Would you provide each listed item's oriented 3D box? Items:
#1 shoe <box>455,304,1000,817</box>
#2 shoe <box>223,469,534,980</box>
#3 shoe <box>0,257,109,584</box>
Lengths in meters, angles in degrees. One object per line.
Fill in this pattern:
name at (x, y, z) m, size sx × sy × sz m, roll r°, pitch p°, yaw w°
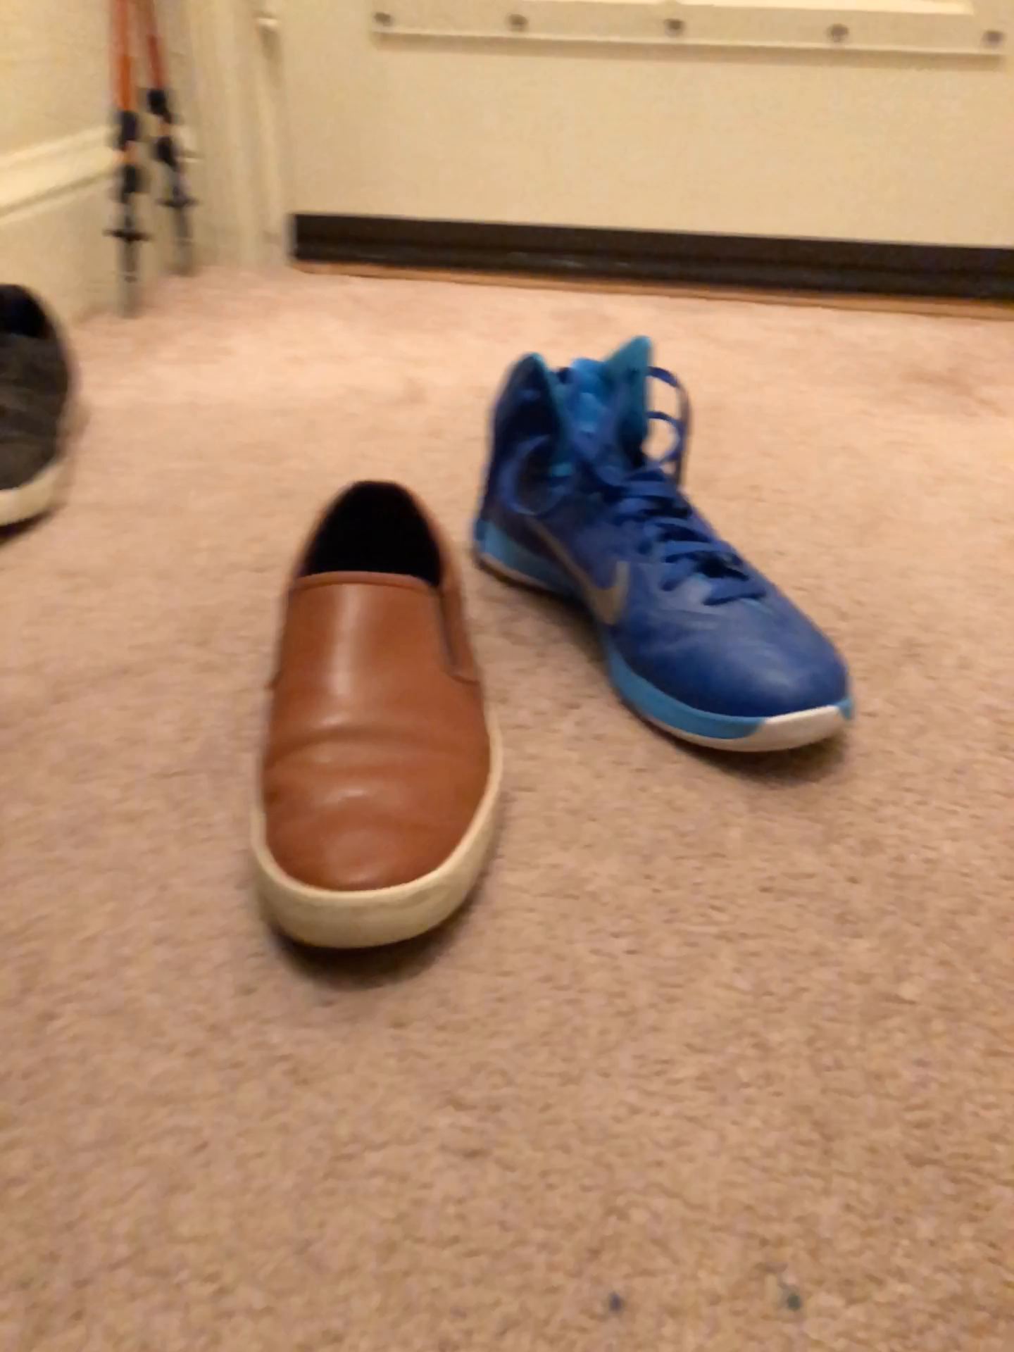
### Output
shoe at (0.089, -0.083, 0.593) m, size 0.115 × 0.142 × 0.293 m, roll -16°, pitch 38°, yaw -24°
shoe at (-0.050, 0.000, 0.514) m, size 0.105 × 0.083 × 0.284 m, roll -1°, pitch 34°, yaw -3°
shoe at (-0.355, -0.188, 0.749) m, size 0.115 × 0.112 × 0.294 m, roll -6°, pitch 35°, yaw -10°
